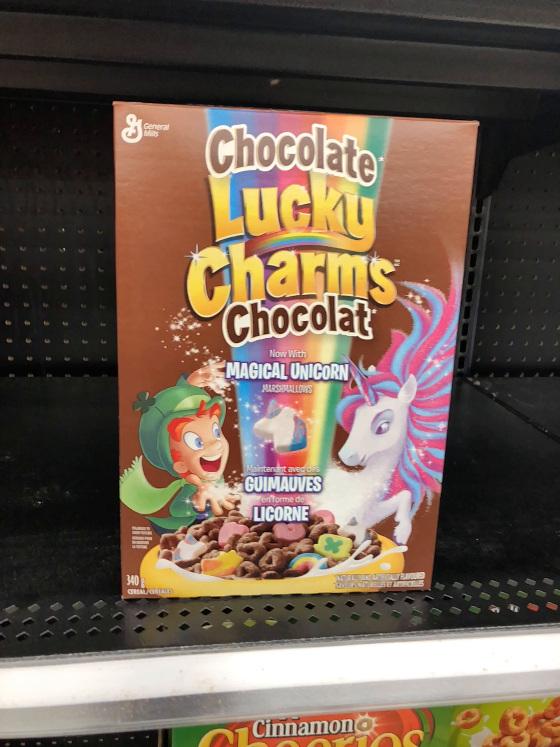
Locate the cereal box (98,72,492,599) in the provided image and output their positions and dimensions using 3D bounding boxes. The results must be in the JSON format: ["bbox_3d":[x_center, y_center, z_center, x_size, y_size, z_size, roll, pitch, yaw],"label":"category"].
[{"bbox_3d":[0.003,-0.012,0.369,0.200,0.289,0.050,1,13,-6],"label":"cereal box"}]
